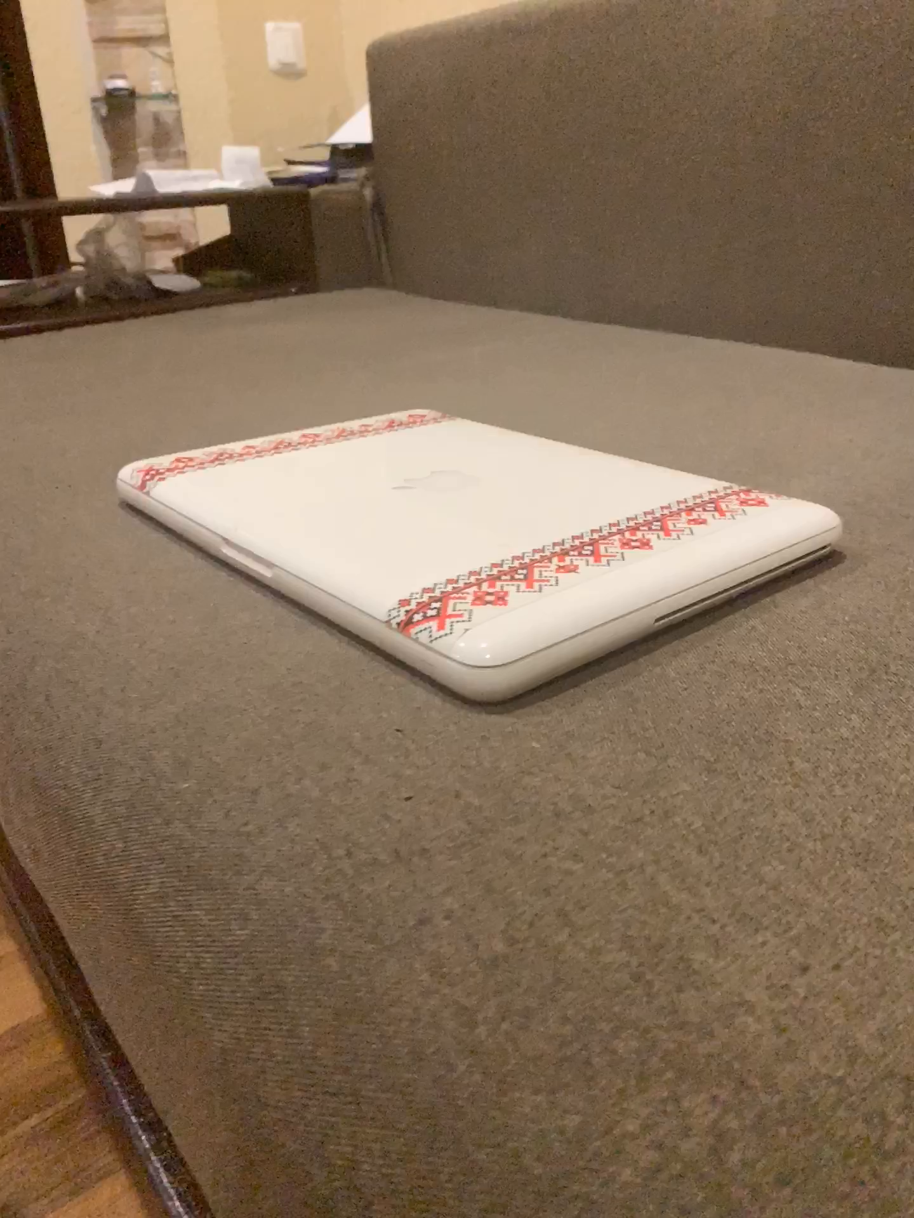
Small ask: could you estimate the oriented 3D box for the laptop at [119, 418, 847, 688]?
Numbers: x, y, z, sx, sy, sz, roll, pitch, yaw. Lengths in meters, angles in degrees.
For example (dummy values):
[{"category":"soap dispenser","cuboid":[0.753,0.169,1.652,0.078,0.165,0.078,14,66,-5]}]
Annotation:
[{"category":"laptop","cuboid":[-0.006,-0.055,0.501,0.222,0.003,0.326,-21,31,-35]}]
